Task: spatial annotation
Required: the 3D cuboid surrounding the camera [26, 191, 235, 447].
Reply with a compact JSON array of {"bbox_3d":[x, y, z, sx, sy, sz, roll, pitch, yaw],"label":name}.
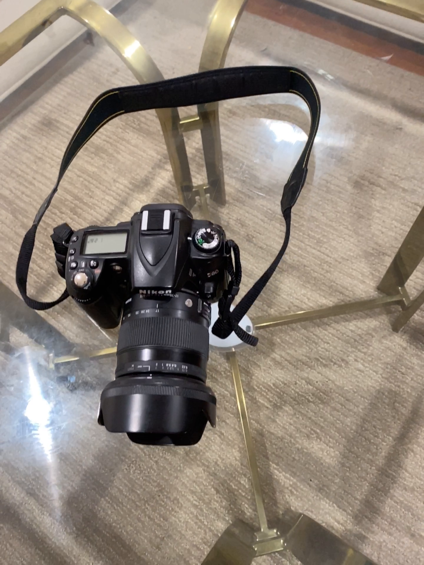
[{"bbox_3d":[-0.051,0.036,0.368,0.130,0.120,0.180,-3,63,4],"label":"camera"}]
